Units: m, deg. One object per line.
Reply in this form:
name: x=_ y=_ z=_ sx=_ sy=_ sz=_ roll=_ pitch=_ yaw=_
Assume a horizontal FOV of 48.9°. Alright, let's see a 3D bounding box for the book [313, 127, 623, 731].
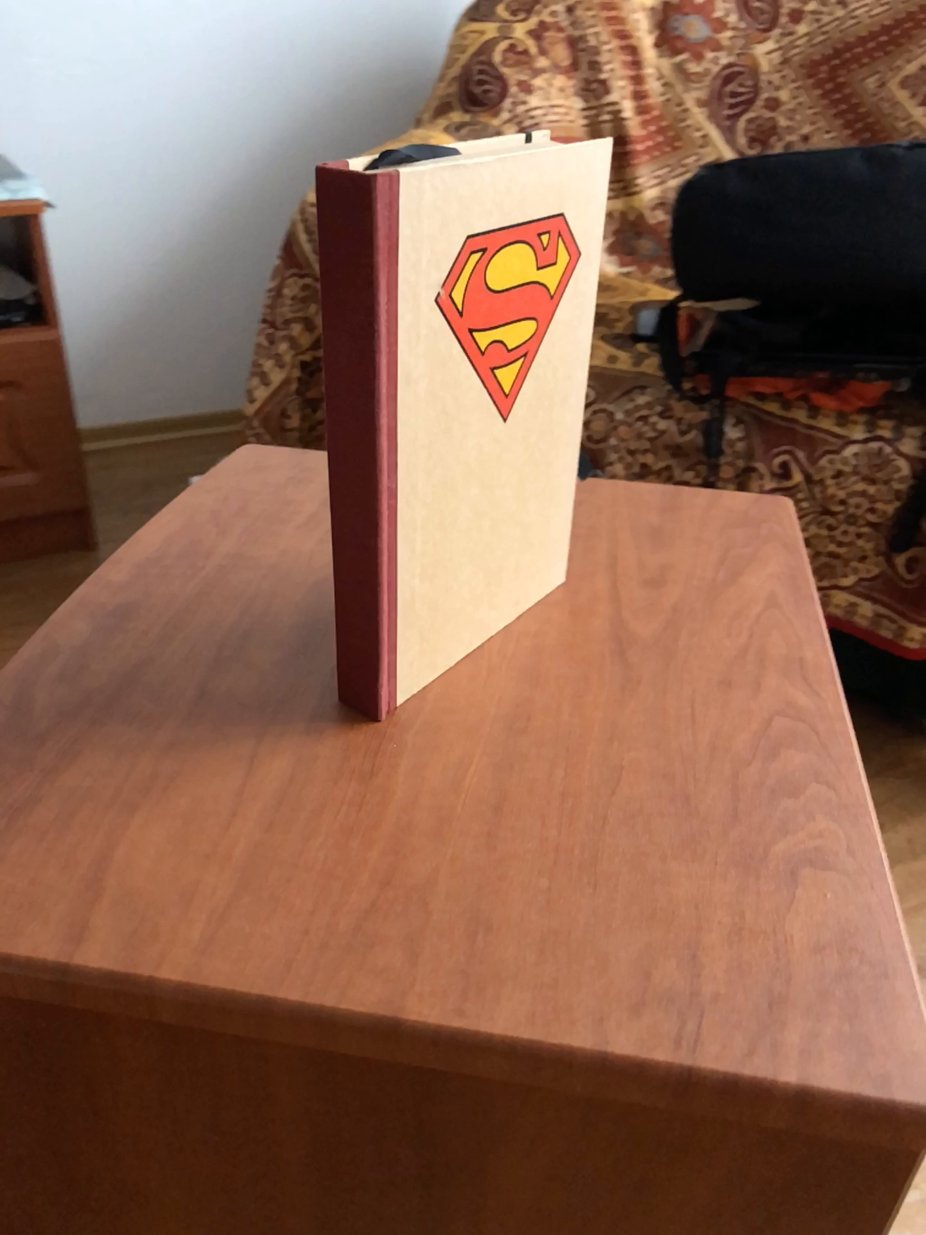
book: x=0.005 y=-0.081 z=0.426 sx=0.032 sy=0.212 sz=0.155 roll=21 pitch=36 yaw=28
